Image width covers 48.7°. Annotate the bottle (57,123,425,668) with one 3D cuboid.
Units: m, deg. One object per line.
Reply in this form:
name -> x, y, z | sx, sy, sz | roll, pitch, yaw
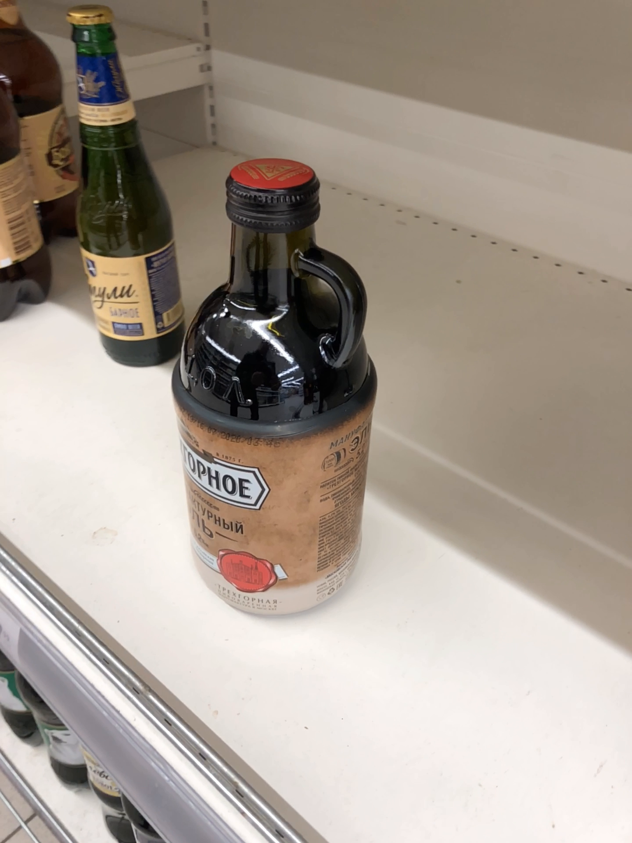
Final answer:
bottle -> -0.035, -0.008, 0.346 | 0.100, 0.225, 0.110 | -25, 46, -29
